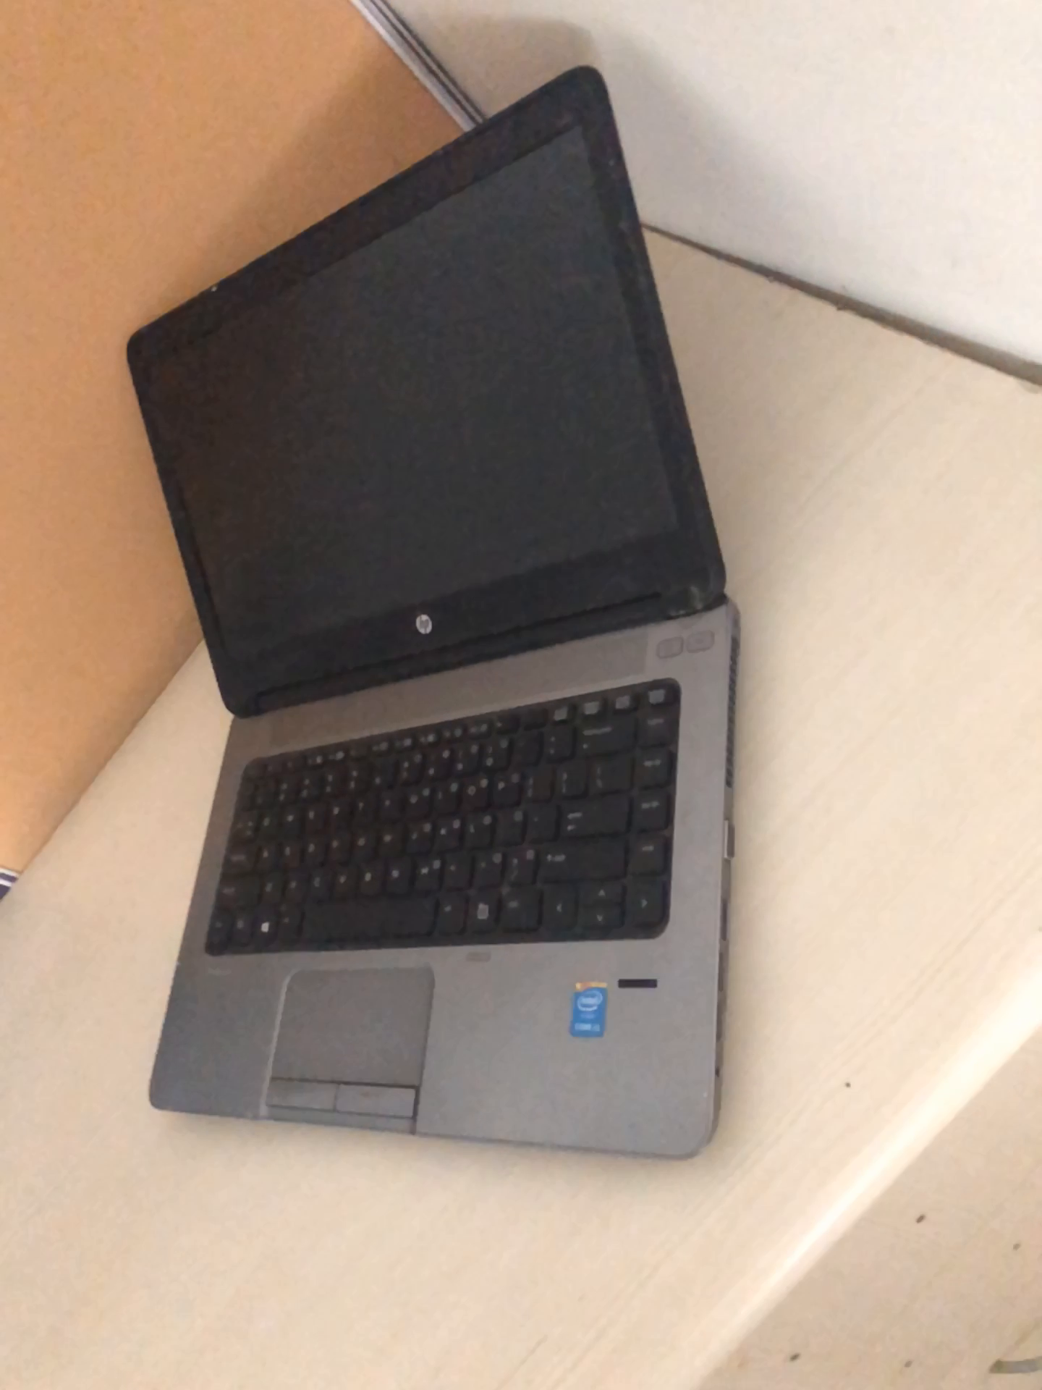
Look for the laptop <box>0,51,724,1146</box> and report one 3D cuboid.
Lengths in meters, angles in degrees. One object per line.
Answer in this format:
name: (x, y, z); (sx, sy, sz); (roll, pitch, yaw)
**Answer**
laptop: (-0.088, -0.025, 0.519); (0.316, 0.125, 0.392); (-12, 61, 37)
